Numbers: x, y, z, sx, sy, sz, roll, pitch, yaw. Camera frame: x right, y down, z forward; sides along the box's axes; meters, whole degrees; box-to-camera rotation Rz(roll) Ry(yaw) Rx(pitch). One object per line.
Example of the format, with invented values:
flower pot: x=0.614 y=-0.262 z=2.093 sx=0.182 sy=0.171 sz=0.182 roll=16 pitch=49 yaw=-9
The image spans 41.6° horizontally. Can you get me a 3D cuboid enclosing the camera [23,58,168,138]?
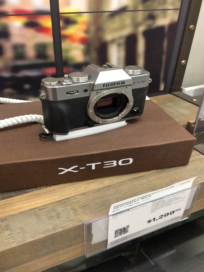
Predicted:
camera: x=-0.008 y=-0.050 z=0.322 sx=0.137 sy=0.057 sz=0.070 roll=-15 pitch=39 yaw=-22
